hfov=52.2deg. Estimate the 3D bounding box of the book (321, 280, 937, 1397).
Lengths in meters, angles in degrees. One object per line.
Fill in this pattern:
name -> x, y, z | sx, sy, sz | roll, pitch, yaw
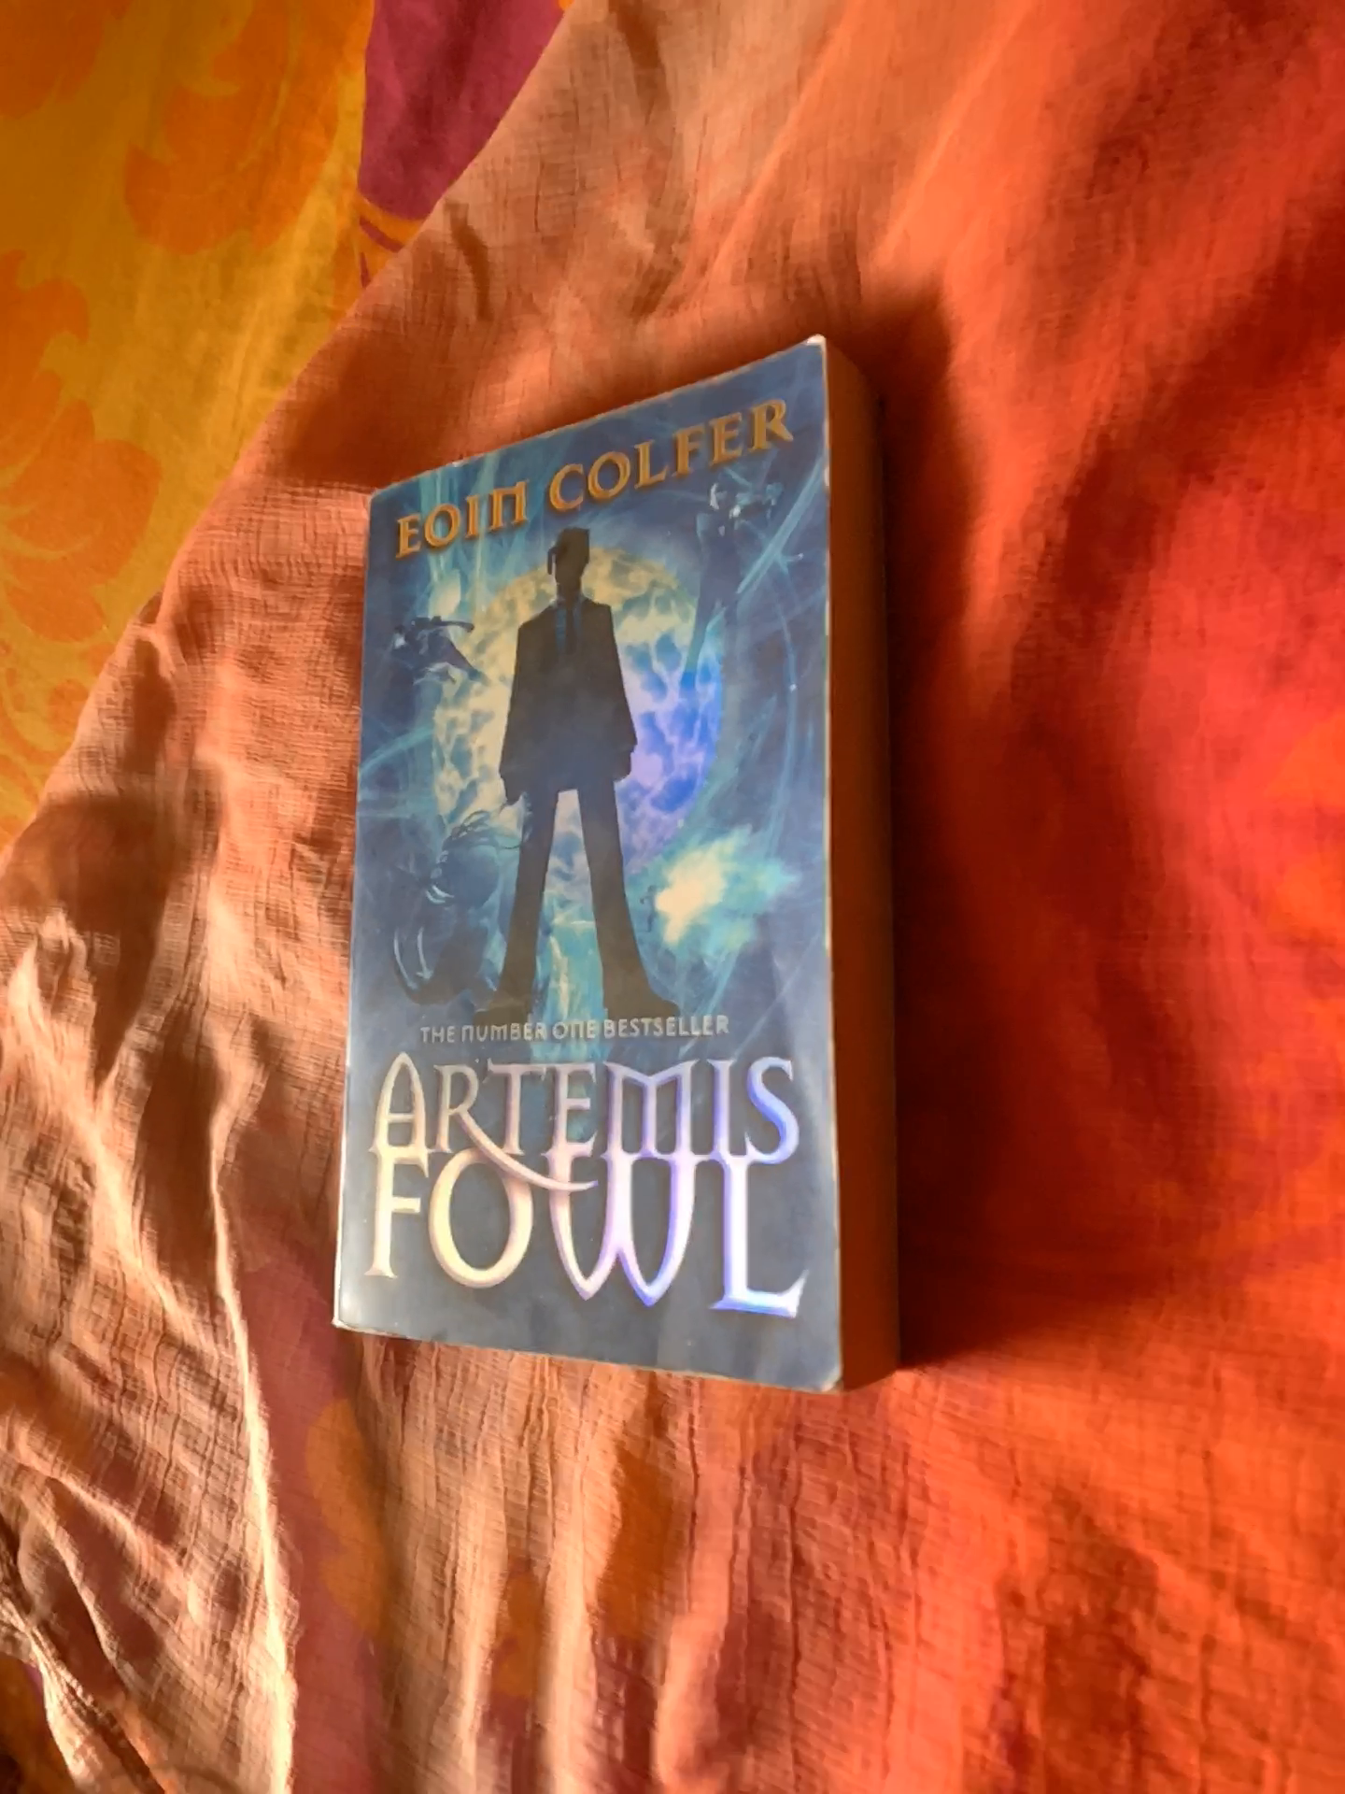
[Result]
book -> -0.016, -0.008, 0.281 | 0.131, 0.030, 0.190 | -5, 82, 35
